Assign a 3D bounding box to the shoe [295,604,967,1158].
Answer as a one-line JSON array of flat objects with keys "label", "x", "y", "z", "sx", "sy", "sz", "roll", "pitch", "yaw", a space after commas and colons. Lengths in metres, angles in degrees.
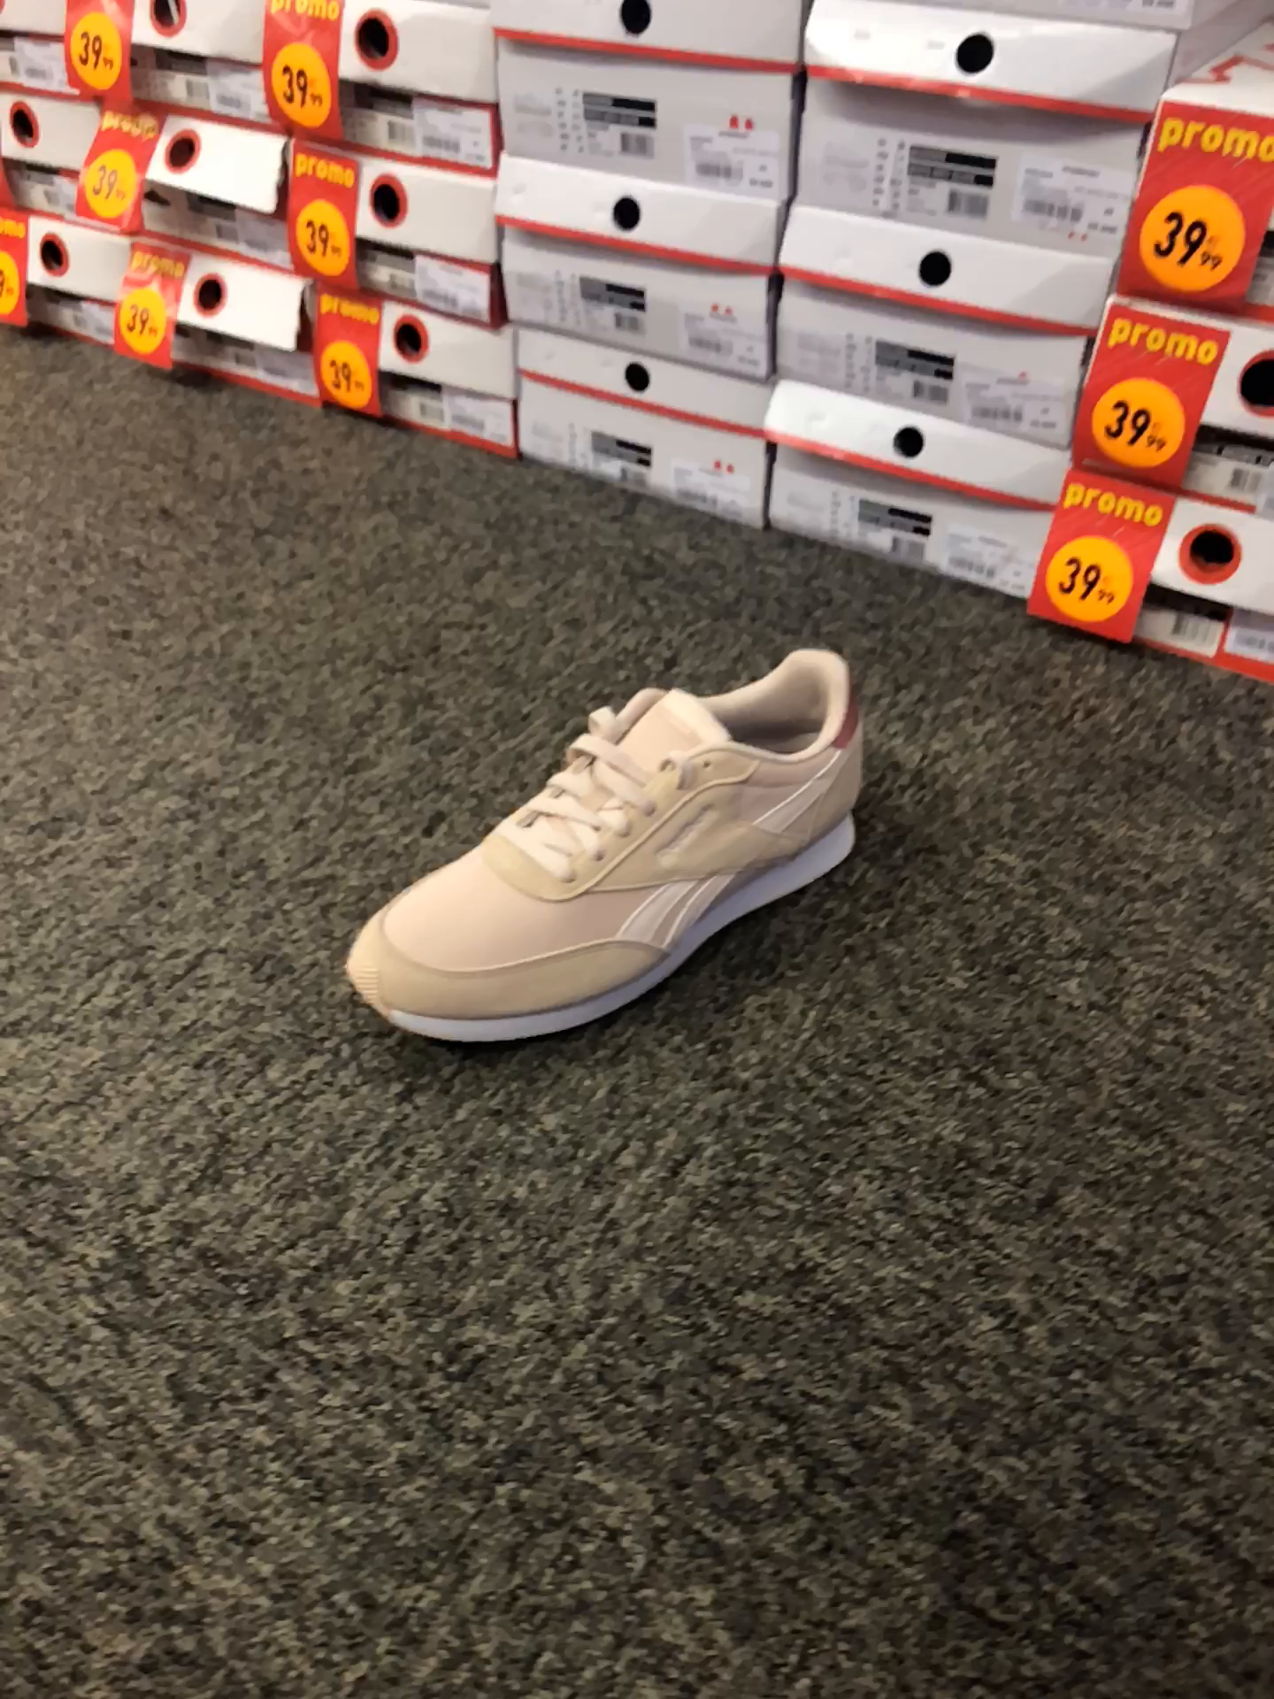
[{"label": "shoe", "x": 0.005, "y": 0.002, "z": 0.615, "sx": 0.271, "sy": 0.109, "sz": 0.100, "roll": -26, "pitch": 46, "yaw": -27}]
